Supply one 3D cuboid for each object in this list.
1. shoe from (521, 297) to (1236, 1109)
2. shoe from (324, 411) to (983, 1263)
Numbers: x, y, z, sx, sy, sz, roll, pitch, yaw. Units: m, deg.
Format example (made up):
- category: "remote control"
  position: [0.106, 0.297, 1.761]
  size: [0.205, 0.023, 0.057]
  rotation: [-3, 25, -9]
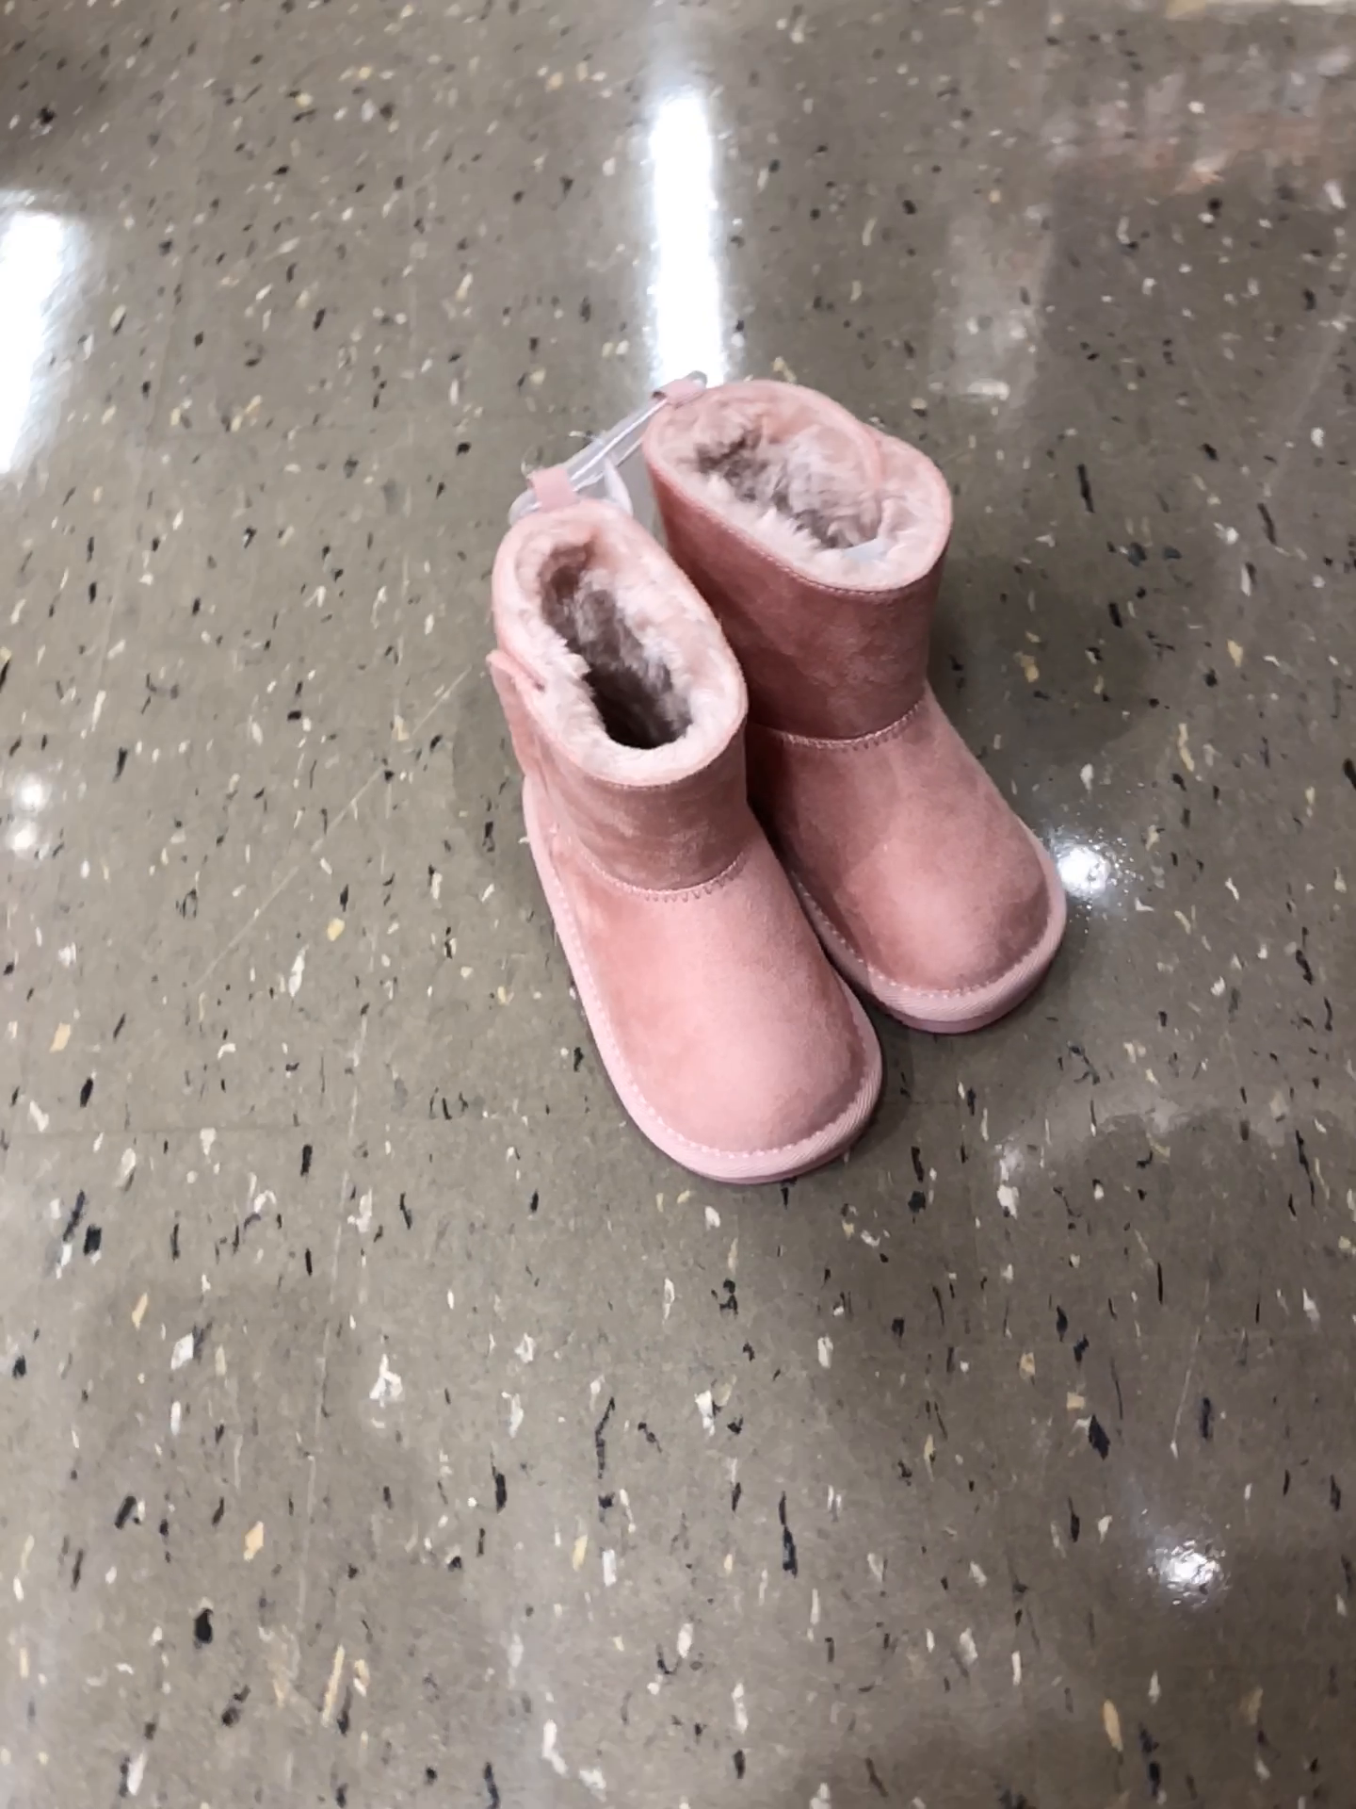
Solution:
- category: "shoe"
  position: [0.049, -0.052, 0.436]
  size: [0.090, 0.150, 0.160]
  rotation: [-37, 65, -15]
- category: "shoe"
  position: [-0.007, -0.012, 0.415]
  size: [0.090, 0.150, 0.160]
  rotation: [-26, 63, -10]
